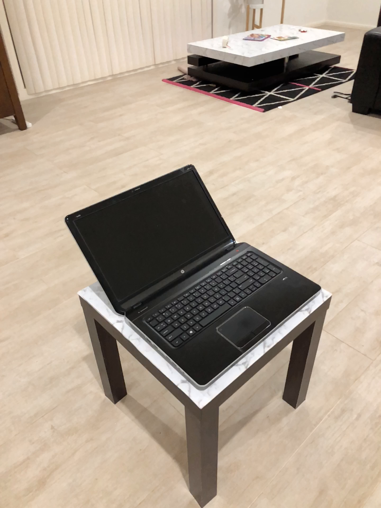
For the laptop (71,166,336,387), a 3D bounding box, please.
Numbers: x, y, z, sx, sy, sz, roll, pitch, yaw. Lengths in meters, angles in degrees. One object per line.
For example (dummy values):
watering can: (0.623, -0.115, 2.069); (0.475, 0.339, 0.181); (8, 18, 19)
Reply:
laptop: (0.022, 0.003, 0.962); (0.387, 0.169, 0.439); (-30, 46, -32)
